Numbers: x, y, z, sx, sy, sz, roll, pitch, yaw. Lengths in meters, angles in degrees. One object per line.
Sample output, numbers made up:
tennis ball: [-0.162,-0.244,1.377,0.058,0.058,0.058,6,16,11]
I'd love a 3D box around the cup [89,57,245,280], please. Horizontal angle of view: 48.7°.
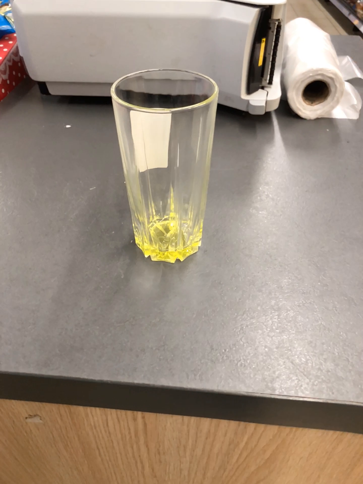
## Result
cup: [-0.010,-0.054,0.305,0.075,0.134,0.070,0,42,0]
